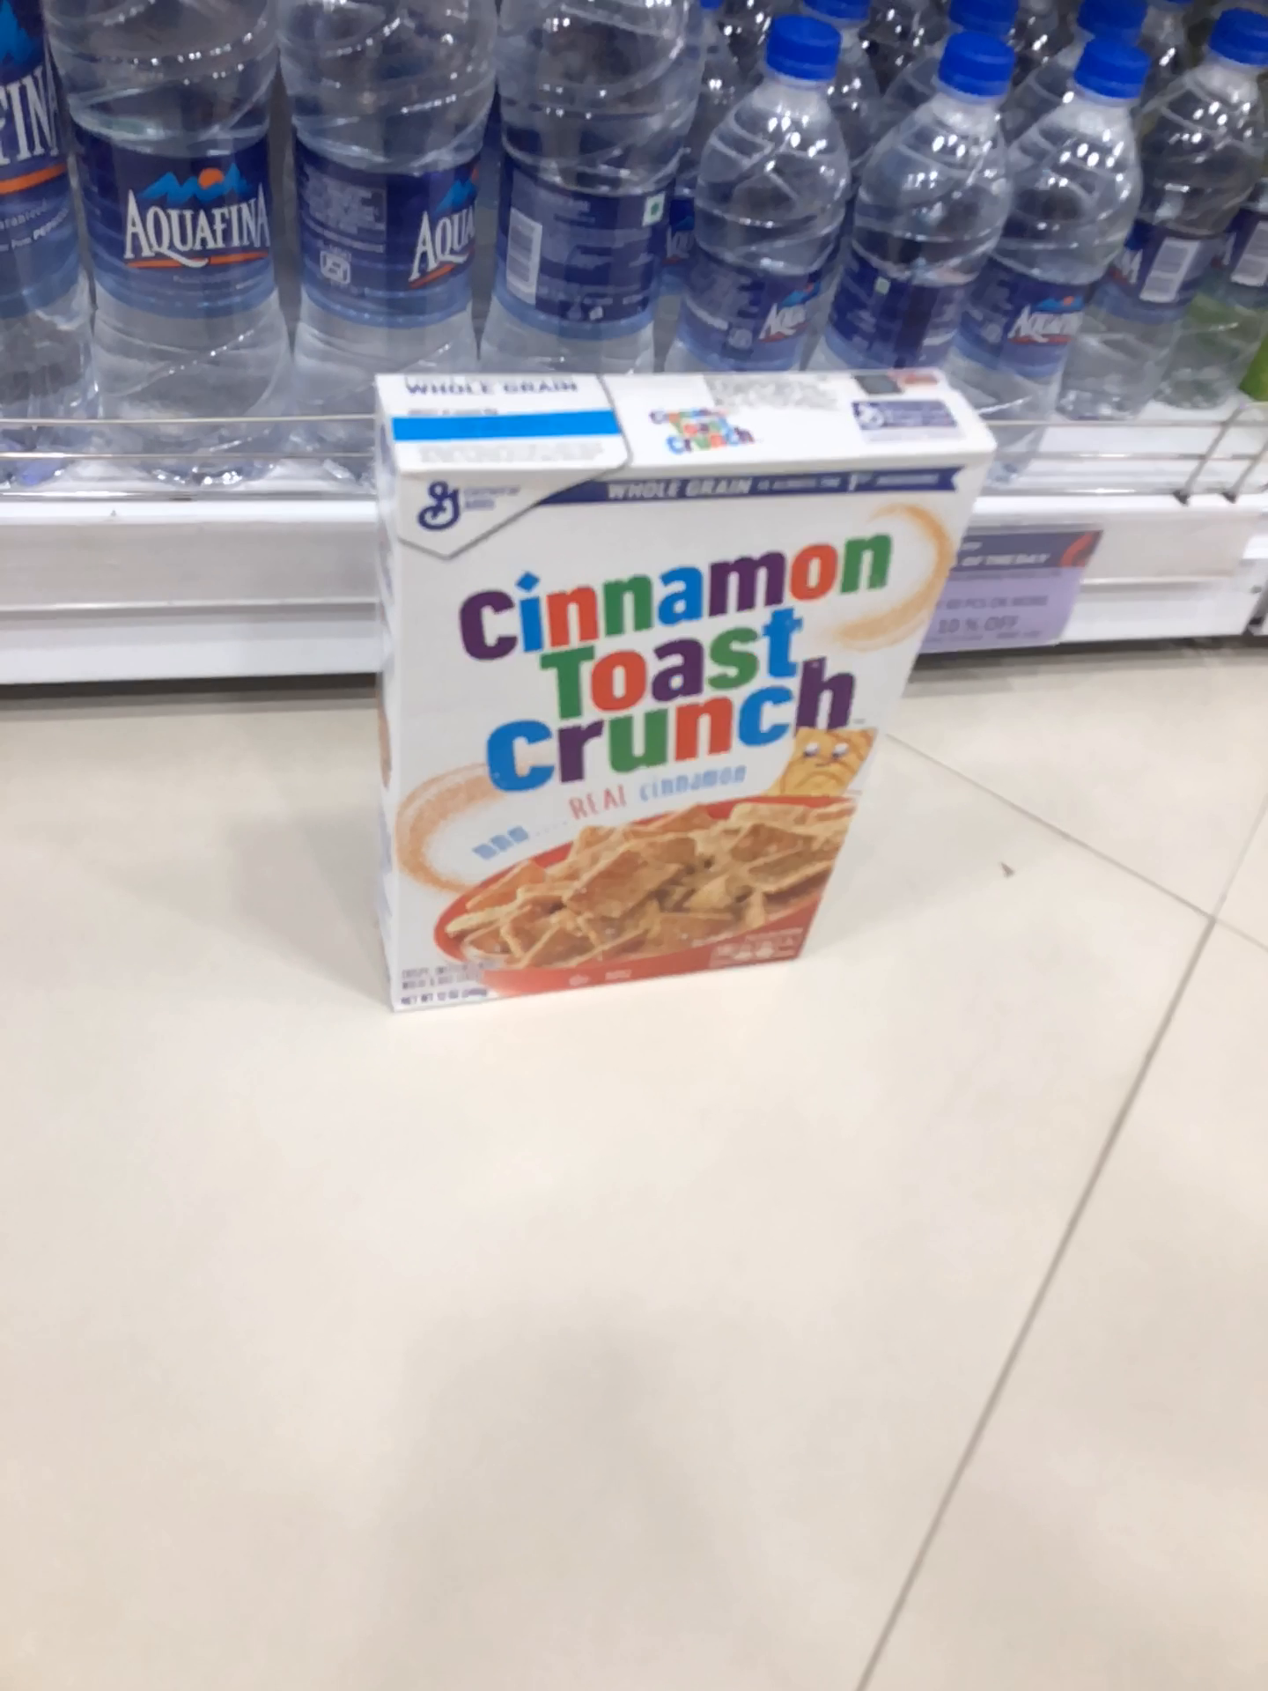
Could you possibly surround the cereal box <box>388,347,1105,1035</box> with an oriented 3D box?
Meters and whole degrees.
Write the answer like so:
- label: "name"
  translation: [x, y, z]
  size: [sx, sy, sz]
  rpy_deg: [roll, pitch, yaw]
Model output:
- label: "cereal box"
  translation: [0.017, -0.041, 0.512]
  size: [0.200, 0.278, 0.060]
  rpy_deg: [-7, 54, -16]
